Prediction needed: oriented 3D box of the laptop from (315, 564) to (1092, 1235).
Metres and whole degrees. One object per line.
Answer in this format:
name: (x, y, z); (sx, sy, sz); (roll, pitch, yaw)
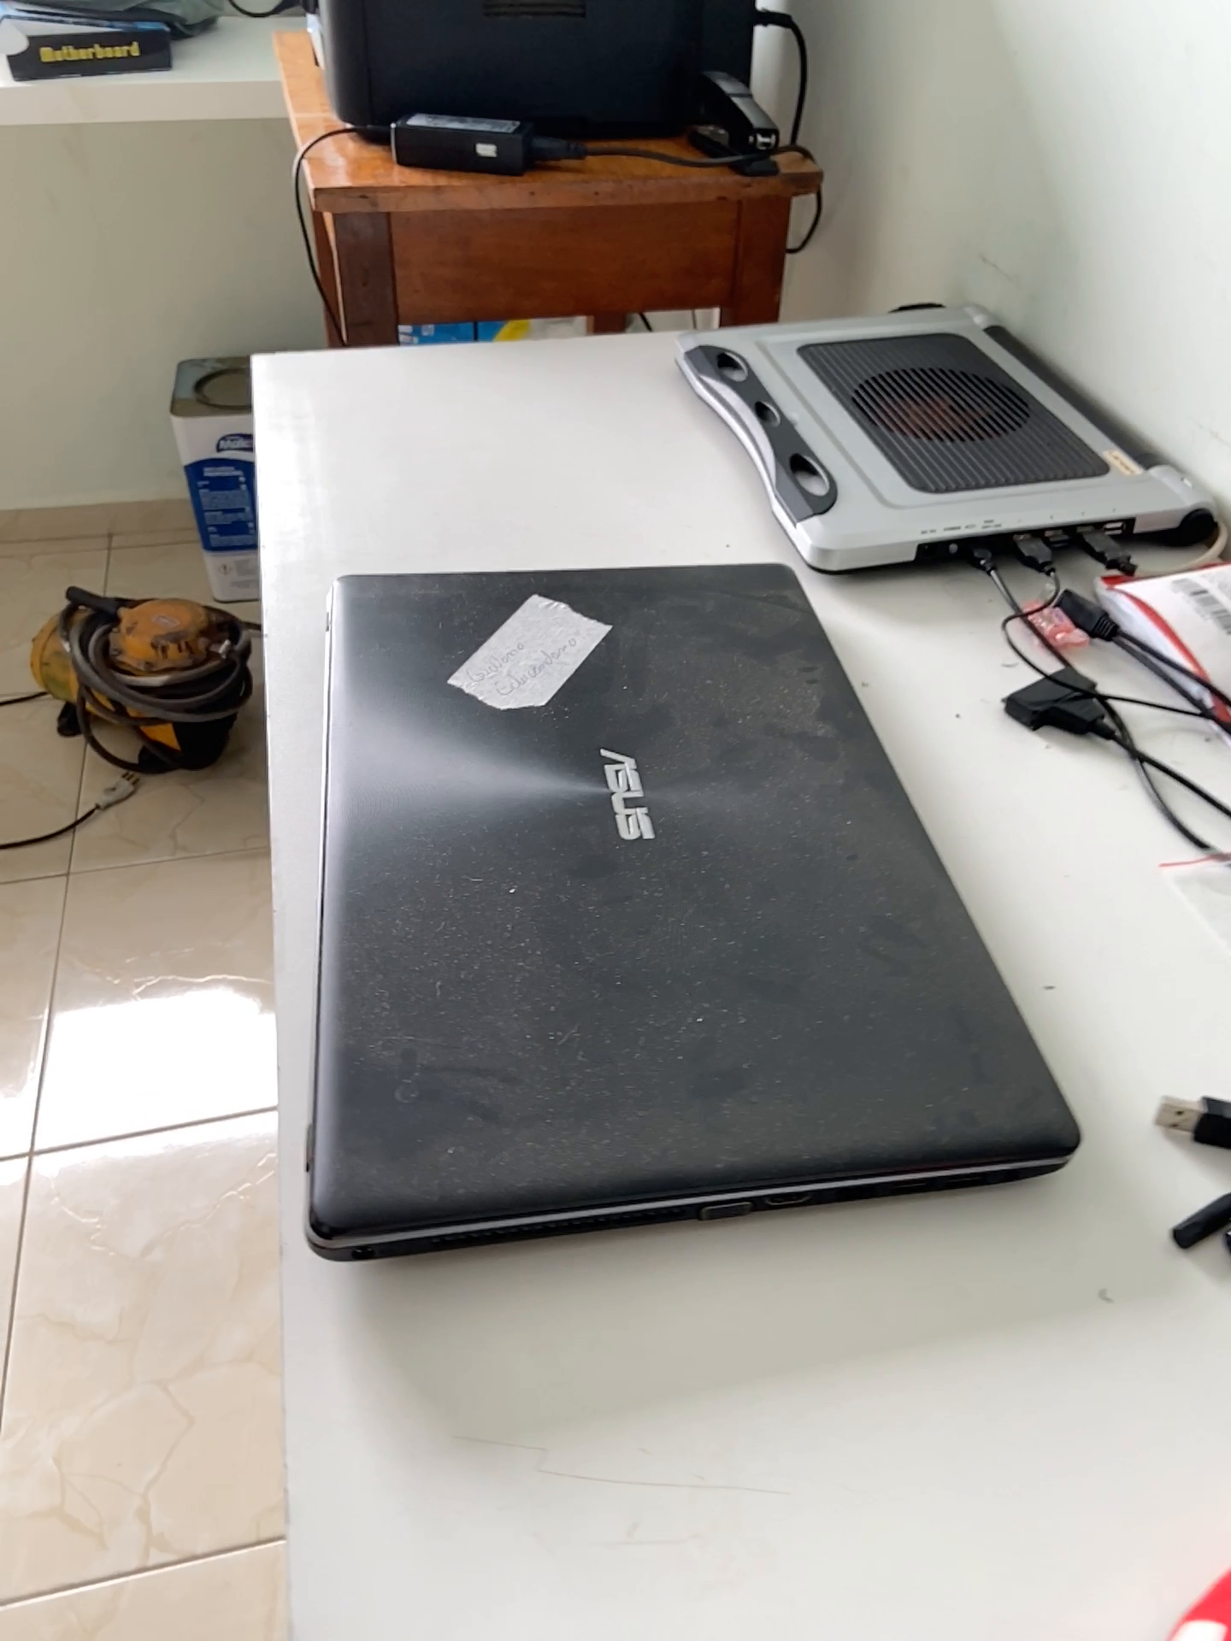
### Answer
laptop: (0.002, -0.008, 0.545); (0.250, 0.007, 0.387); (-4, 41, -8)
